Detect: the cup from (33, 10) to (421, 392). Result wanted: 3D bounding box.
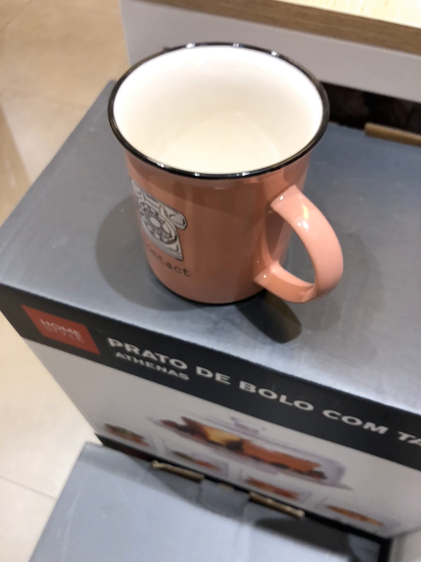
[{"bbox_3d":[0.004,-0.033,0.201,0.110,0.090,0.080,40,66,23],"label":"cup"}]
